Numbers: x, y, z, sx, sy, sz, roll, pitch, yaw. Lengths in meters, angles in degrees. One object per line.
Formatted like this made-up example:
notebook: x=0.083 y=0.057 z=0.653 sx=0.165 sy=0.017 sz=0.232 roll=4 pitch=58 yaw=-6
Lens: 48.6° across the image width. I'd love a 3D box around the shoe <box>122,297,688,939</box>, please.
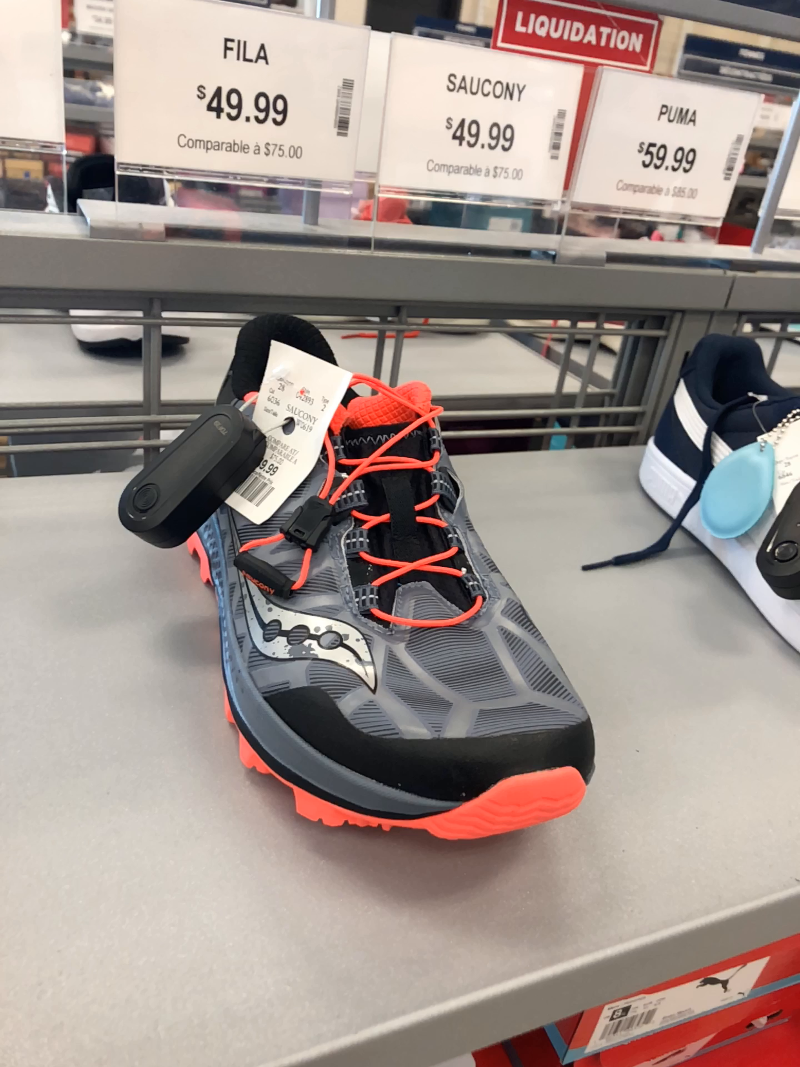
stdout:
shoe: x=-0.034 y=-0.004 z=0.372 sx=0.110 sy=0.109 sz=0.292 roll=-6 pitch=31 yaw=-26
